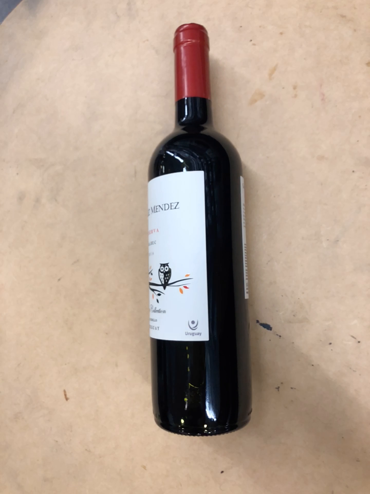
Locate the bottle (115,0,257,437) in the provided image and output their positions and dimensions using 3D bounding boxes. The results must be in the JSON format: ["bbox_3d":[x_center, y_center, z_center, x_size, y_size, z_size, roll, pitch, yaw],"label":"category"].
[{"bbox_3d":[0.002,-0.035,0.301,0.080,0.060,0.310,-3,85,13],"label":"bottle"}]
